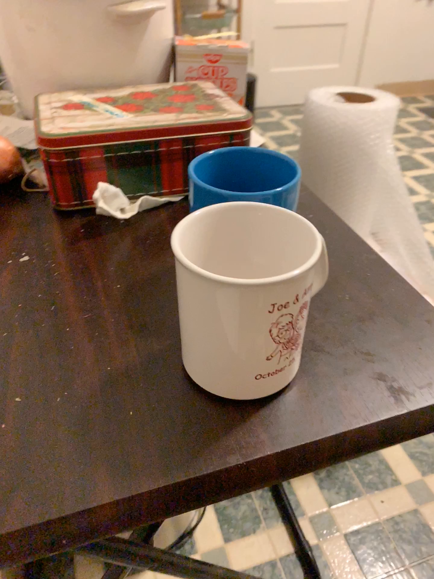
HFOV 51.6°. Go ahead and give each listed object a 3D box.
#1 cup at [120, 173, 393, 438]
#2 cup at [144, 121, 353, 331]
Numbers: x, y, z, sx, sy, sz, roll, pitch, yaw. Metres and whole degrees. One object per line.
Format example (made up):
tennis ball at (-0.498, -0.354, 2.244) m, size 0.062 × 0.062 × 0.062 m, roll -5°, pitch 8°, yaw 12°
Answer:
cup at (0.021, 0.001, 0.274) m, size 0.120 × 0.089 × 0.091 m, roll -24°, pitch 44°, yaw -27°
cup at (0.028, -0.060, 0.366) m, size 0.090 × 0.099 × 0.140 m, roll 27°, pitch 46°, yaw 30°
